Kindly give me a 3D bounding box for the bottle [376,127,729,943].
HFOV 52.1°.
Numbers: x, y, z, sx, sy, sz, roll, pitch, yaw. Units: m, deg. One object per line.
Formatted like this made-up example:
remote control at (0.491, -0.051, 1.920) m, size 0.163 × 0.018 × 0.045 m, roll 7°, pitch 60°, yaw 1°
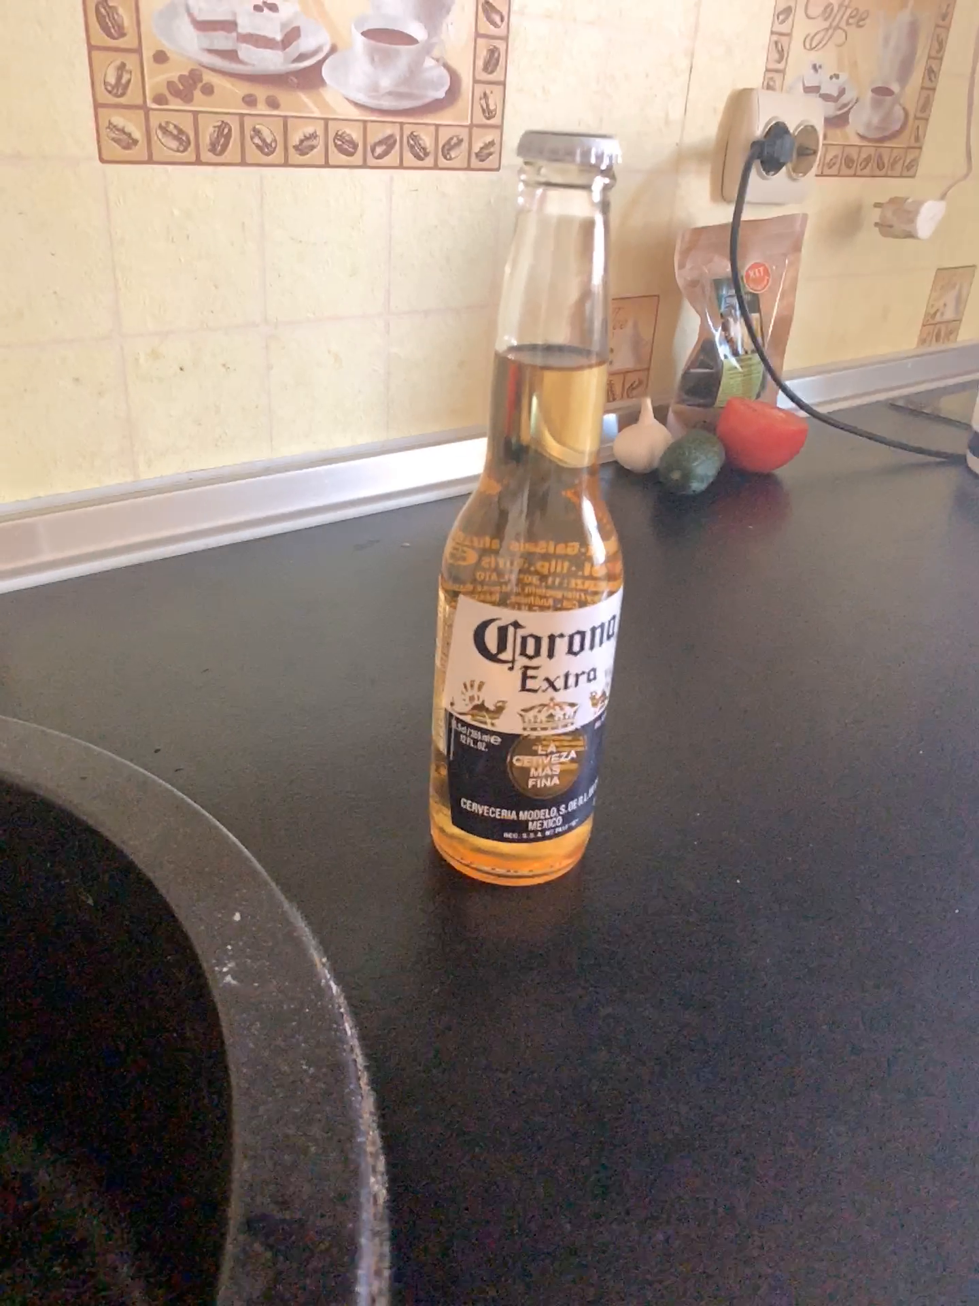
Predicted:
bottle at (0.008, -0.030, 0.331) m, size 0.070 × 0.249 × 0.070 m, roll 3°, pitch 28°, yaw -2°
